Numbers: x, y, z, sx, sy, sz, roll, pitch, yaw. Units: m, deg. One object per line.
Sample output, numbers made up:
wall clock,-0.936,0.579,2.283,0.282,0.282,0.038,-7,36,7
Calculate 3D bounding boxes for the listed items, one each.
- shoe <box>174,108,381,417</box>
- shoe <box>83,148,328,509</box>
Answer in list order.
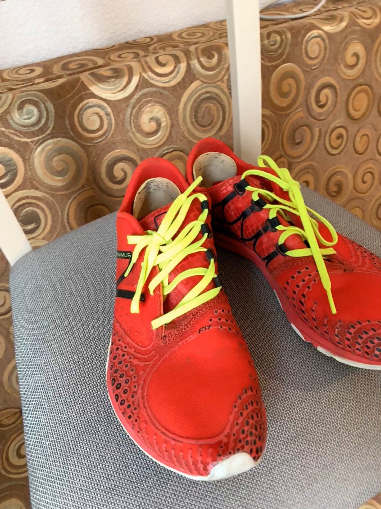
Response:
shoe,0.104,-0.016,0.343,0.110,0.090,0.261,-28,53,-20
shoe,-0.012,0.036,0.309,0.110,0.090,0.261,-11,49,-7
